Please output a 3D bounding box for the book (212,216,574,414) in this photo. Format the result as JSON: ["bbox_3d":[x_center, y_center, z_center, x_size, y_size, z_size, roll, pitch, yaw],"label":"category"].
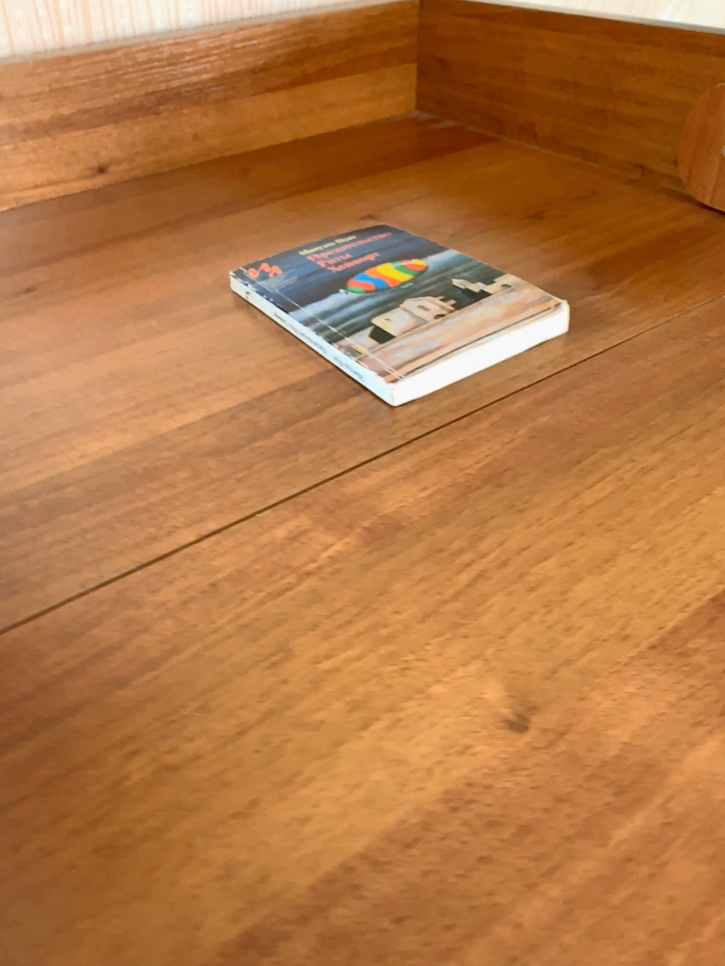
[{"bbox_3d":[0.010,-0.100,0.402,0.121,0.016,0.158,-25,45,-26],"label":"book"}]
